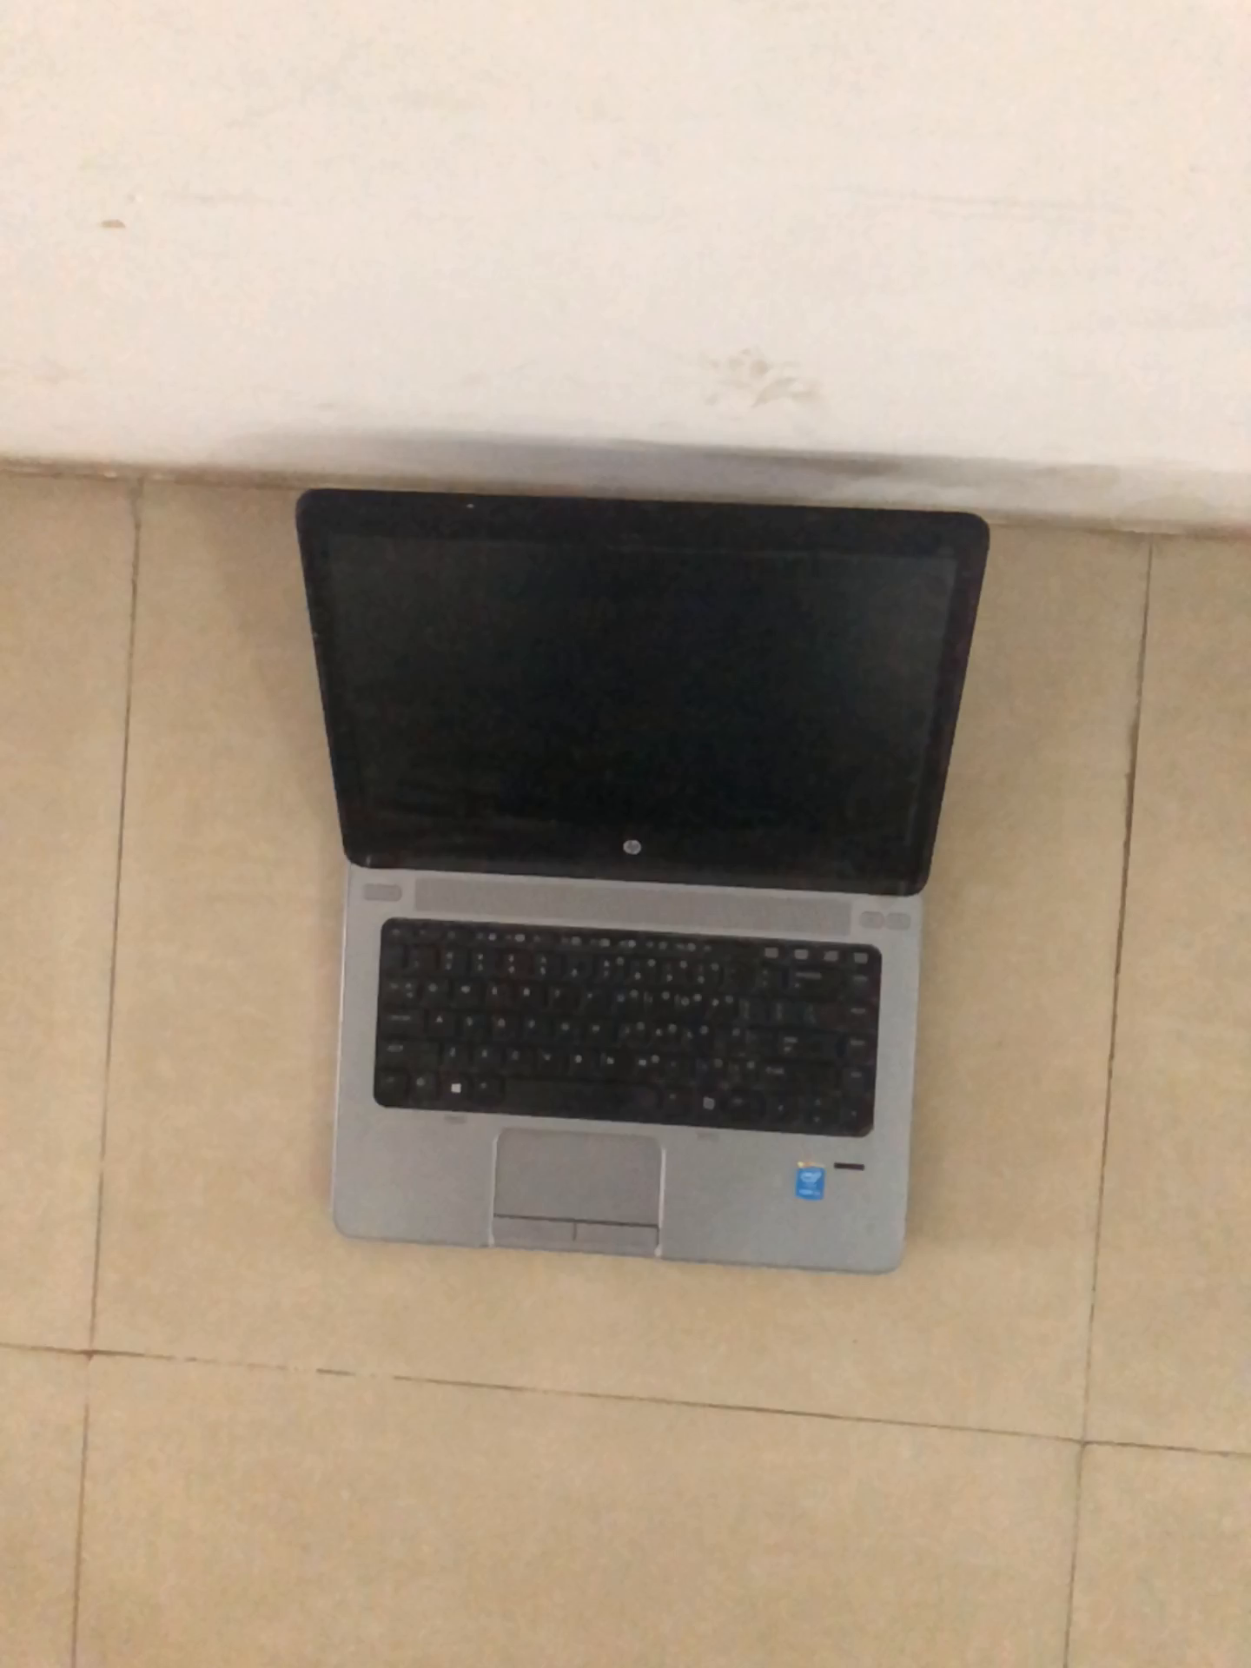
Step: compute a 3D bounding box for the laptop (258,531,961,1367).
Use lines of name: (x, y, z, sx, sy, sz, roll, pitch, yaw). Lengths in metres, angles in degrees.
laptop: (-0.004, 0.051, 0.735, 0.318, 0.146, 0.385, 3, 89, 3)
